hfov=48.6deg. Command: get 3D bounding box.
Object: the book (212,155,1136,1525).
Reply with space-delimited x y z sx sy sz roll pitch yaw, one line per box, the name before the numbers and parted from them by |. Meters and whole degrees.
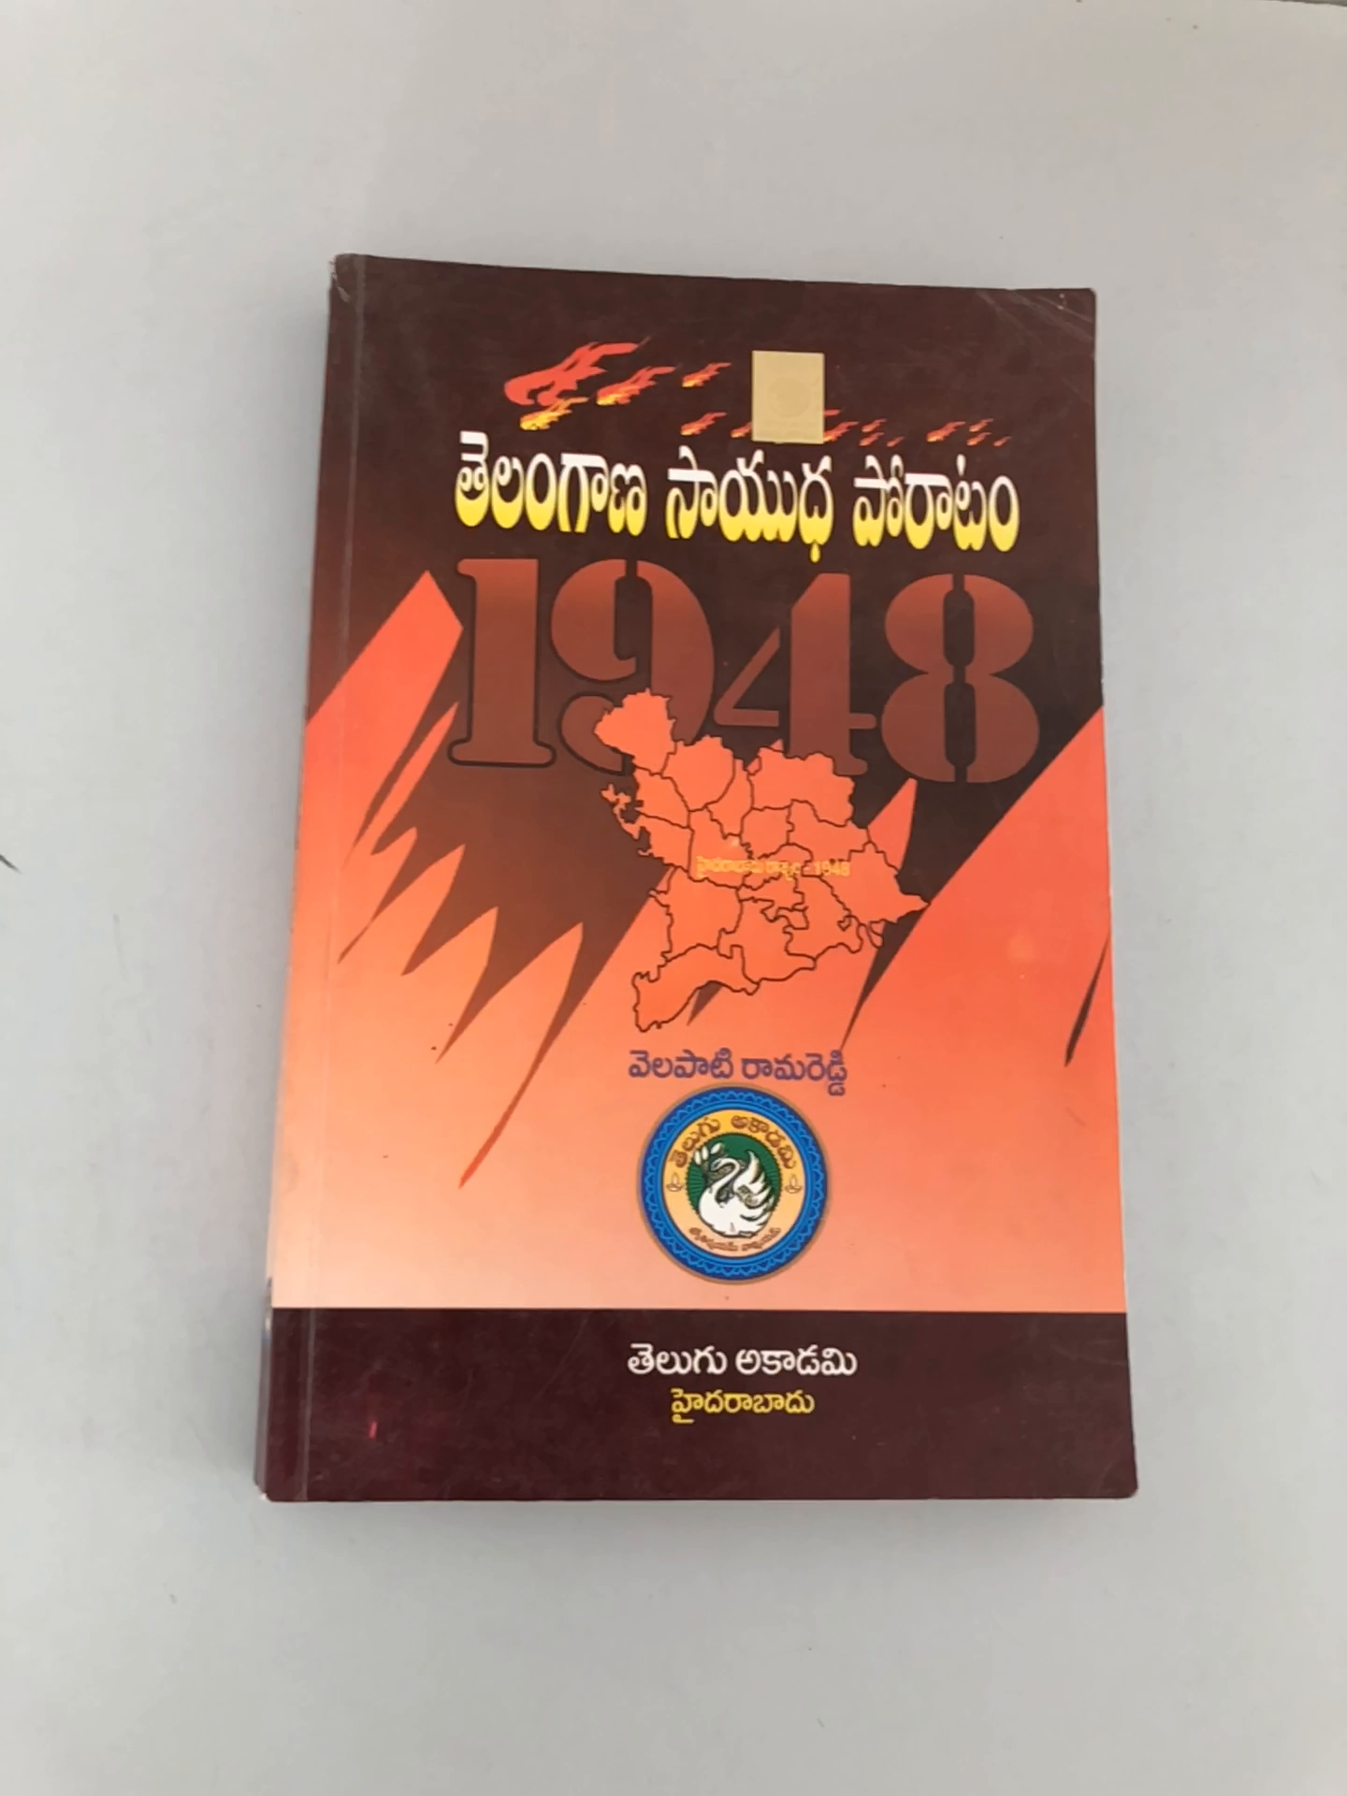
book | 0.003 -0.017 0.311 0.170 0.030 0.270 2 80 -5
